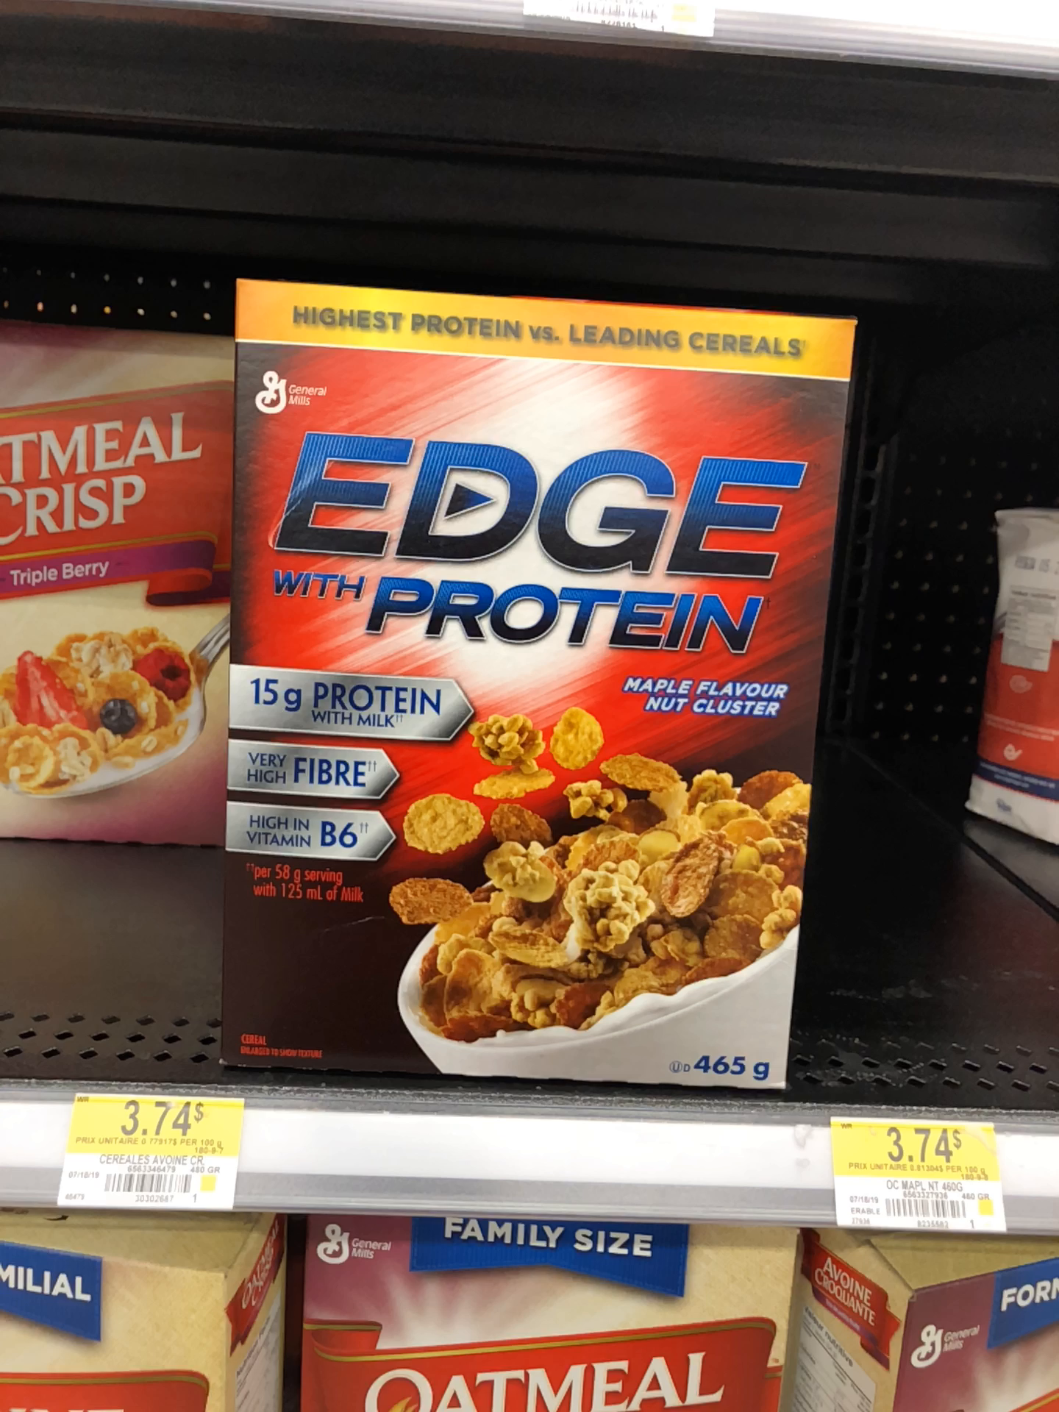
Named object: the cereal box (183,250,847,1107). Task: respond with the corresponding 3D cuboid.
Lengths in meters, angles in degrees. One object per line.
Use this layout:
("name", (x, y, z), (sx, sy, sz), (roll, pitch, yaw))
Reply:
("cereal box", (-0.010, -0.006, 0.410), (0.200, 0.269, 0.060), (3, 9, -1))
